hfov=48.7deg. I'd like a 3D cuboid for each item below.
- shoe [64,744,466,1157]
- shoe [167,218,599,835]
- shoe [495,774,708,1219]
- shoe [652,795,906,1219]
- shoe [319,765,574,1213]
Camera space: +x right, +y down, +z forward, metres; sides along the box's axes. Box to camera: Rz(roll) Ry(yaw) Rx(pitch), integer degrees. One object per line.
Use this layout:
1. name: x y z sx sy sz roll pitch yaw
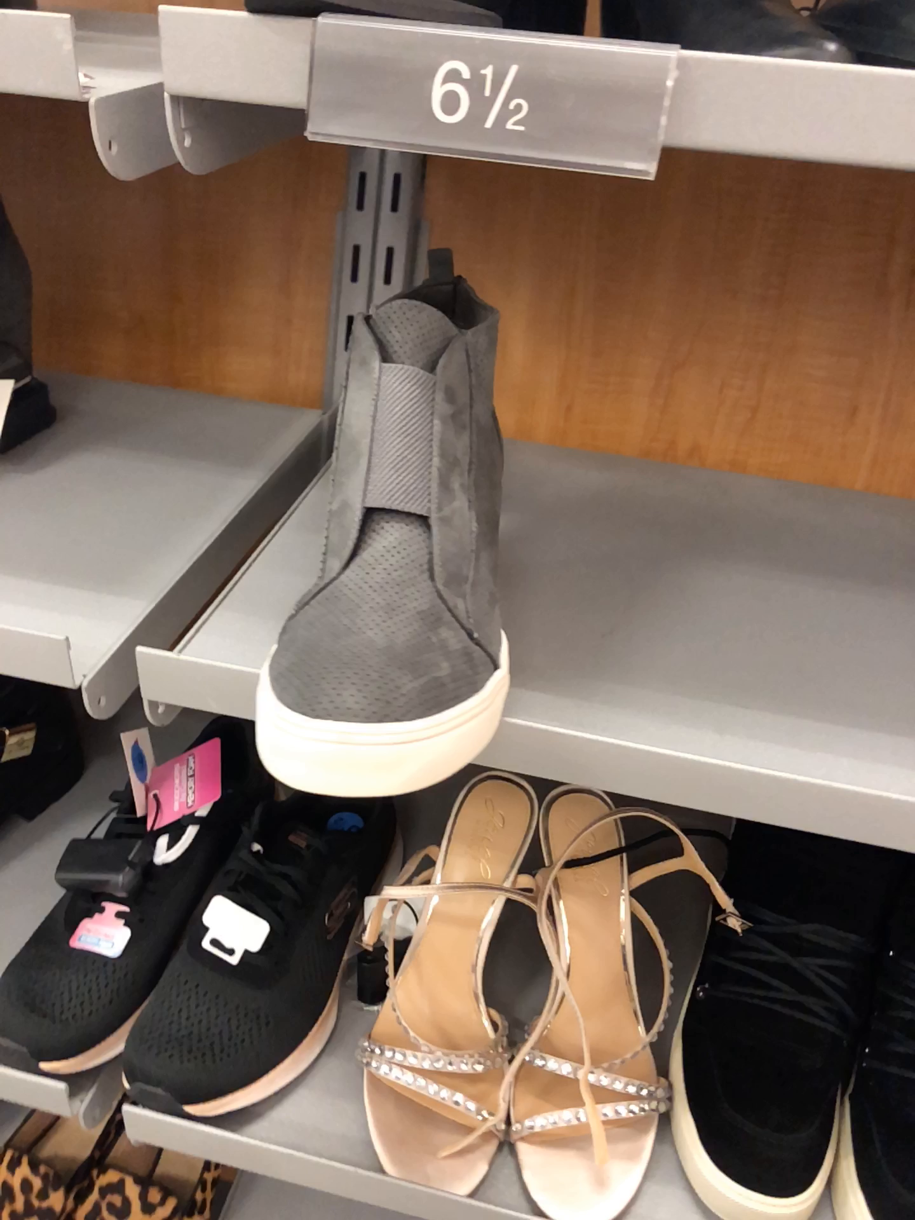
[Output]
1. shoe: -0.099 0.183 0.622 0.109 0.065 0.279 13 22 18
2. shoe: -0.011 -0.057 0.433 0.103 0.173 0.274 10 17 8
3. shoe: 0.077 0.205 0.576 0.083 0.089 0.249 8 24 3
4. shoe: 0.188 0.226 0.603 0.103 0.068 0.279 11 25 13
5. shoe: 0.005 0.197 0.587 0.083 0.085 0.251 10 22 10
